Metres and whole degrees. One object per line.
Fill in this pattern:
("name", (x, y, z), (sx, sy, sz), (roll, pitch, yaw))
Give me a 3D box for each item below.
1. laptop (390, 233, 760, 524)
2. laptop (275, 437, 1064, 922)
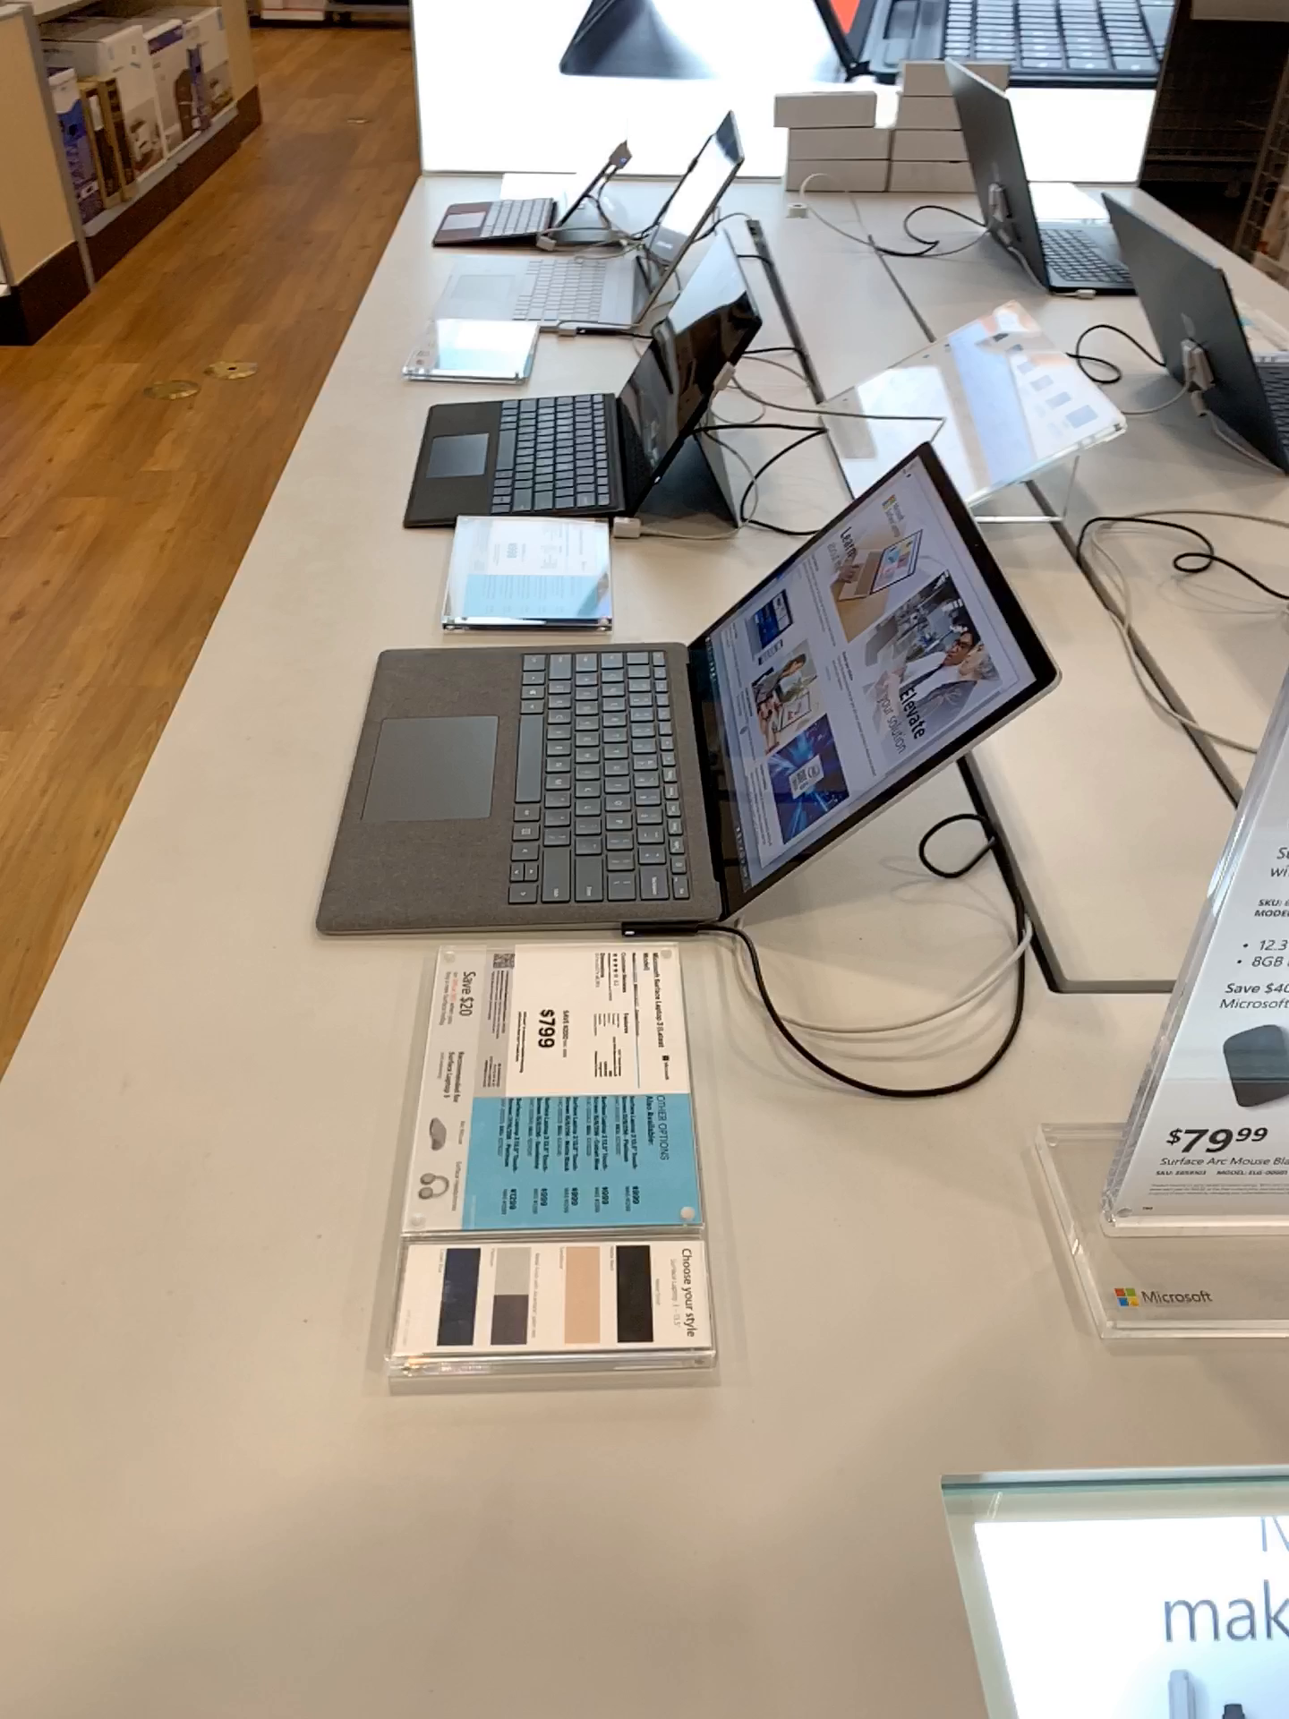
("laptop", (-0.061, -0.445, 1.195), (0.290, 0.157, 0.290), (-2, 38, -3))
("laptop", (0.006, -0.121, 0.786), (0.374, 0.148, 0.298), (-1, 37, -1))
